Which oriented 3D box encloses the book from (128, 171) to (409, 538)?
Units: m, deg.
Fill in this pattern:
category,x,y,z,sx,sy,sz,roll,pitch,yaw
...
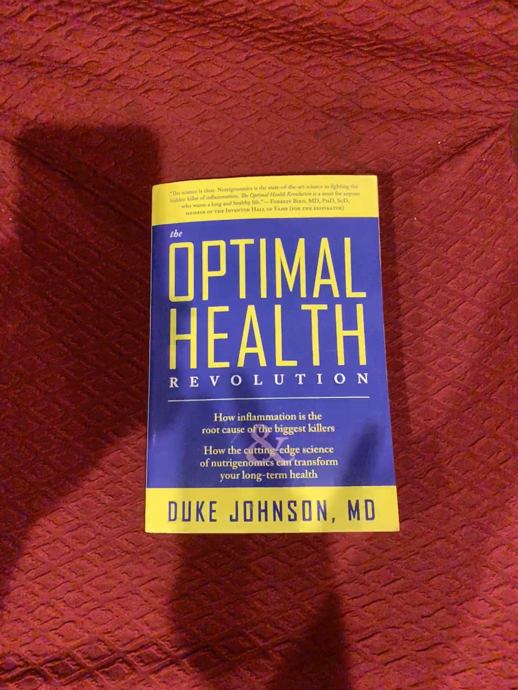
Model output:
category,x,y,z,sx,sy,sz,roll,pitch,yaw
book,0.005,0.005,0.353,0.161,0.060,0.222,-1,81,3
